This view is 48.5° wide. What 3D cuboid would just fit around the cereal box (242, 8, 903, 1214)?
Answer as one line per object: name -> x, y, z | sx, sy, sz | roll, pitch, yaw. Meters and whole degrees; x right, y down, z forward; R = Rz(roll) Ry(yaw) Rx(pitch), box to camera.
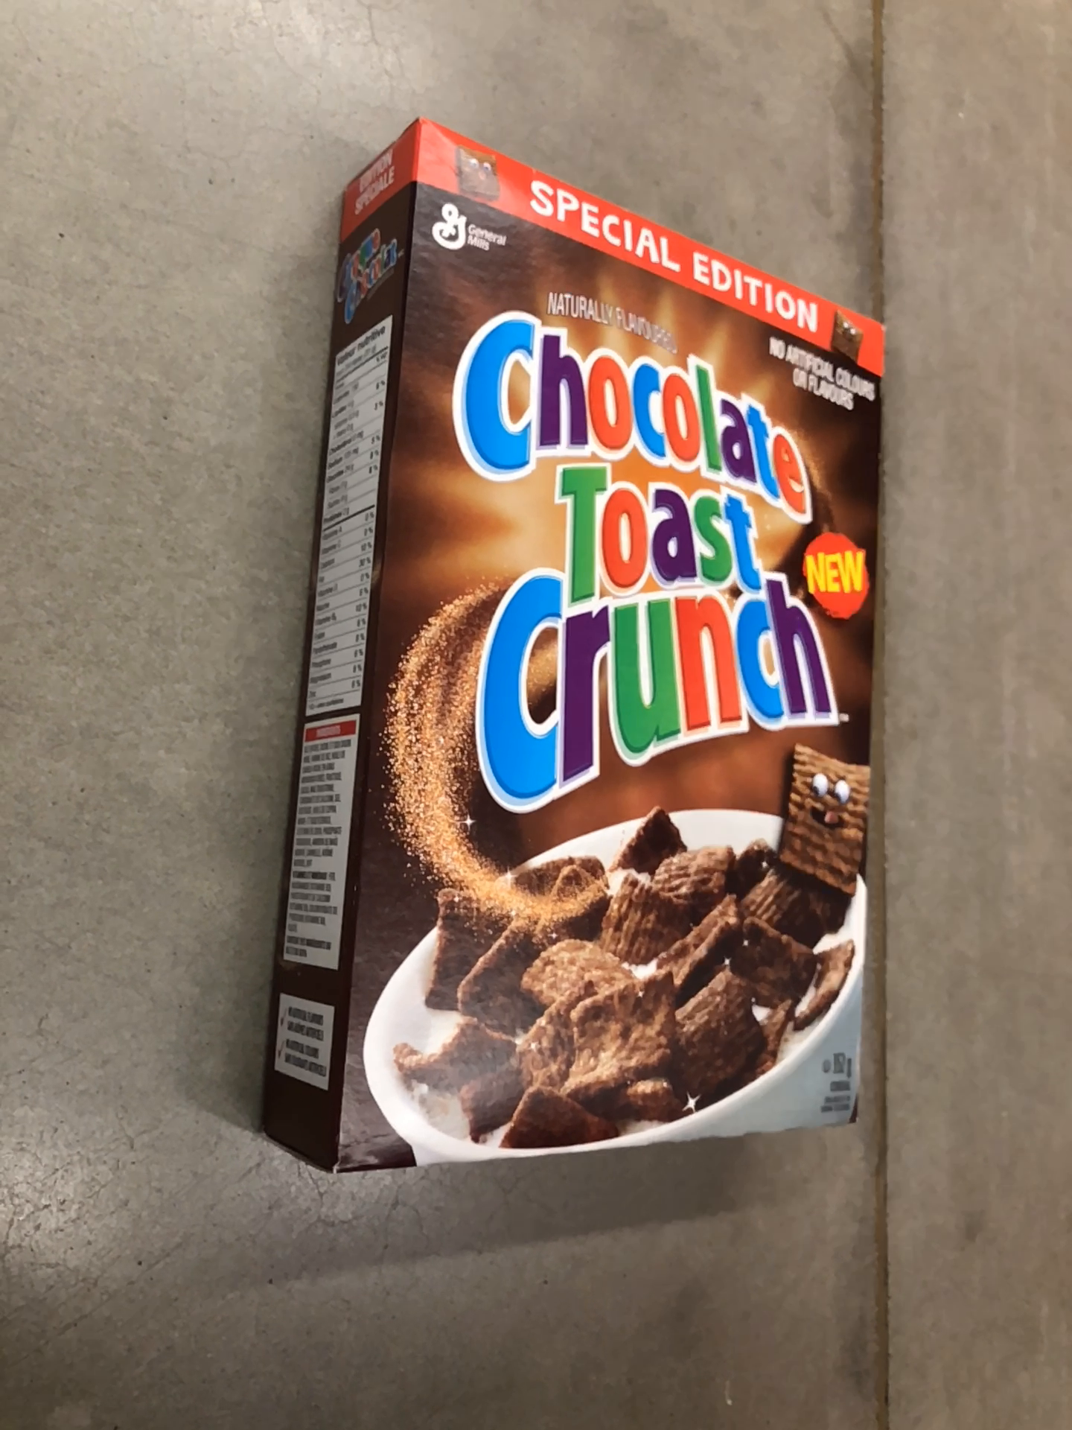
cereal box -> 0.026, -0.022, 0.377 | 0.191, 0.070, 0.310 | 11, 77, -34
